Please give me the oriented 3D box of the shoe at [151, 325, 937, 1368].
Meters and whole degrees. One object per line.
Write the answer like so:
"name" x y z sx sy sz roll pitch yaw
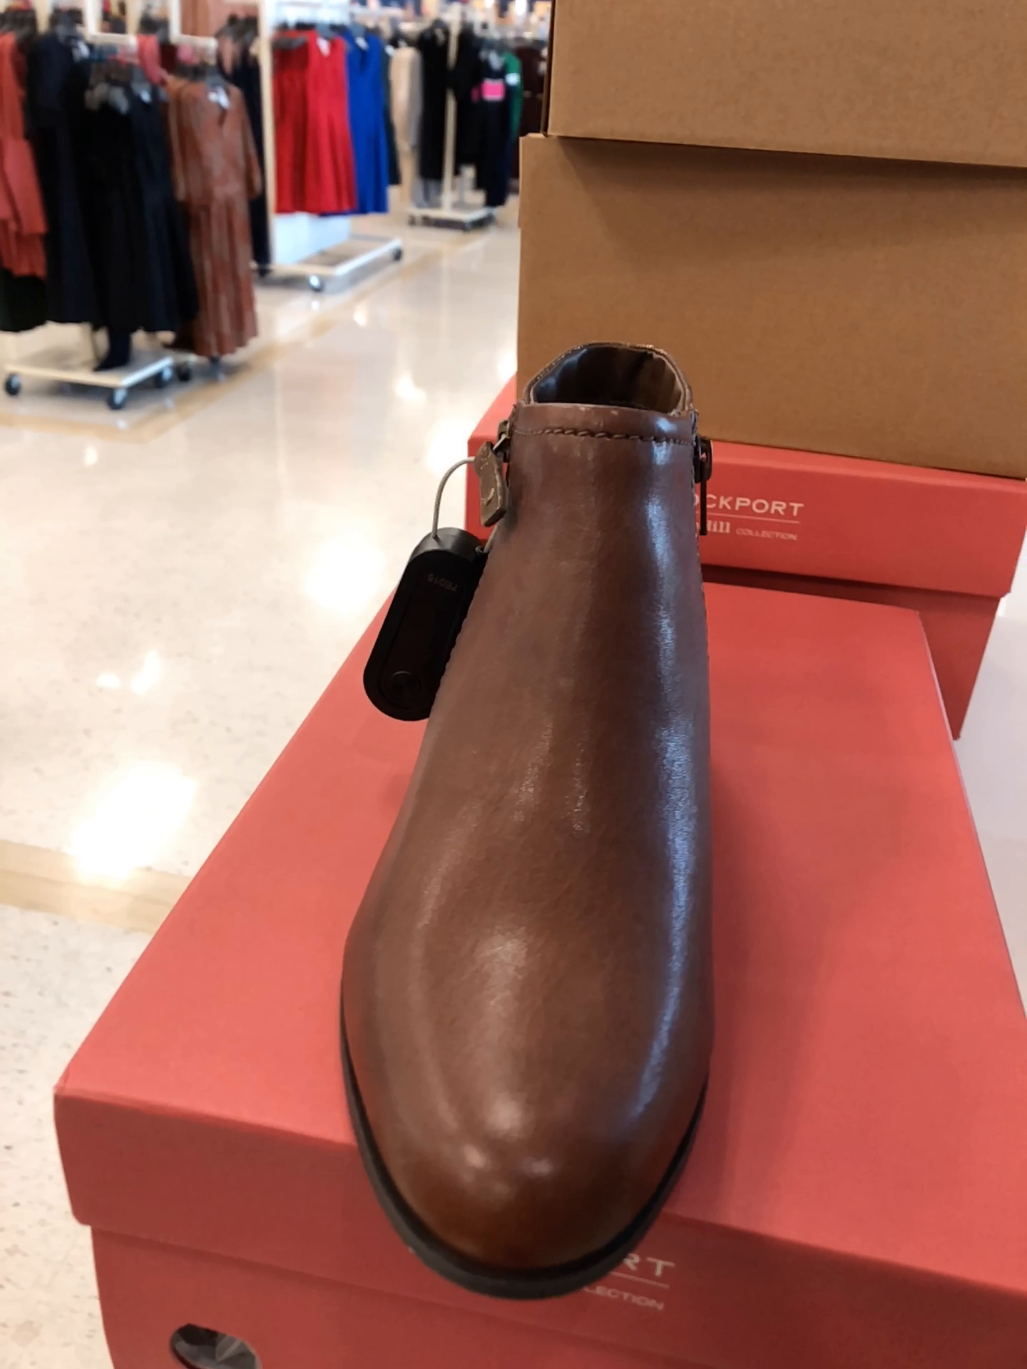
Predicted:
"shoe" 0.016 0.002 0.296 0.101 0.119 0.282 7 30 4
